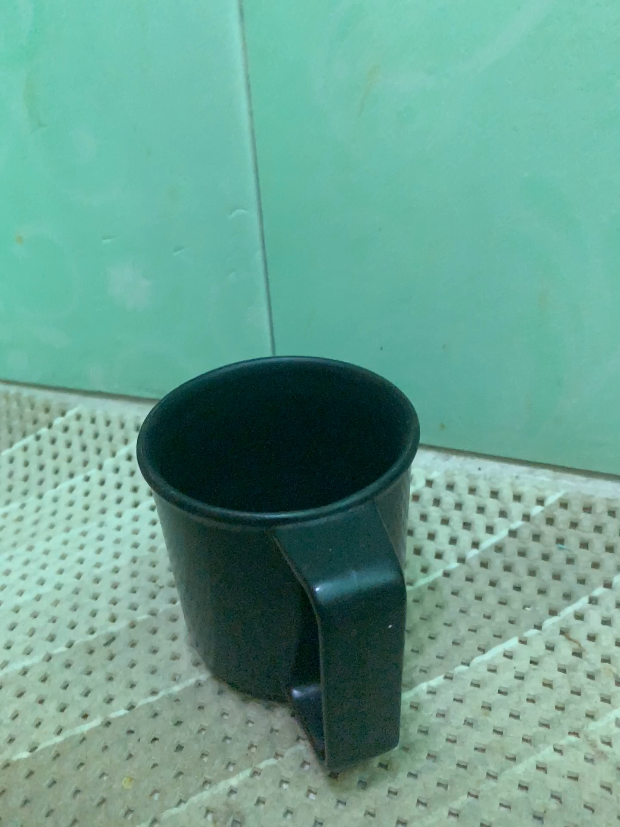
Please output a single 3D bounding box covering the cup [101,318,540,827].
[{"bbox_3d":[-0.006,0.037,0.202,0.090,0.082,0.112,-13,34,-14],"label":"cup"}]
